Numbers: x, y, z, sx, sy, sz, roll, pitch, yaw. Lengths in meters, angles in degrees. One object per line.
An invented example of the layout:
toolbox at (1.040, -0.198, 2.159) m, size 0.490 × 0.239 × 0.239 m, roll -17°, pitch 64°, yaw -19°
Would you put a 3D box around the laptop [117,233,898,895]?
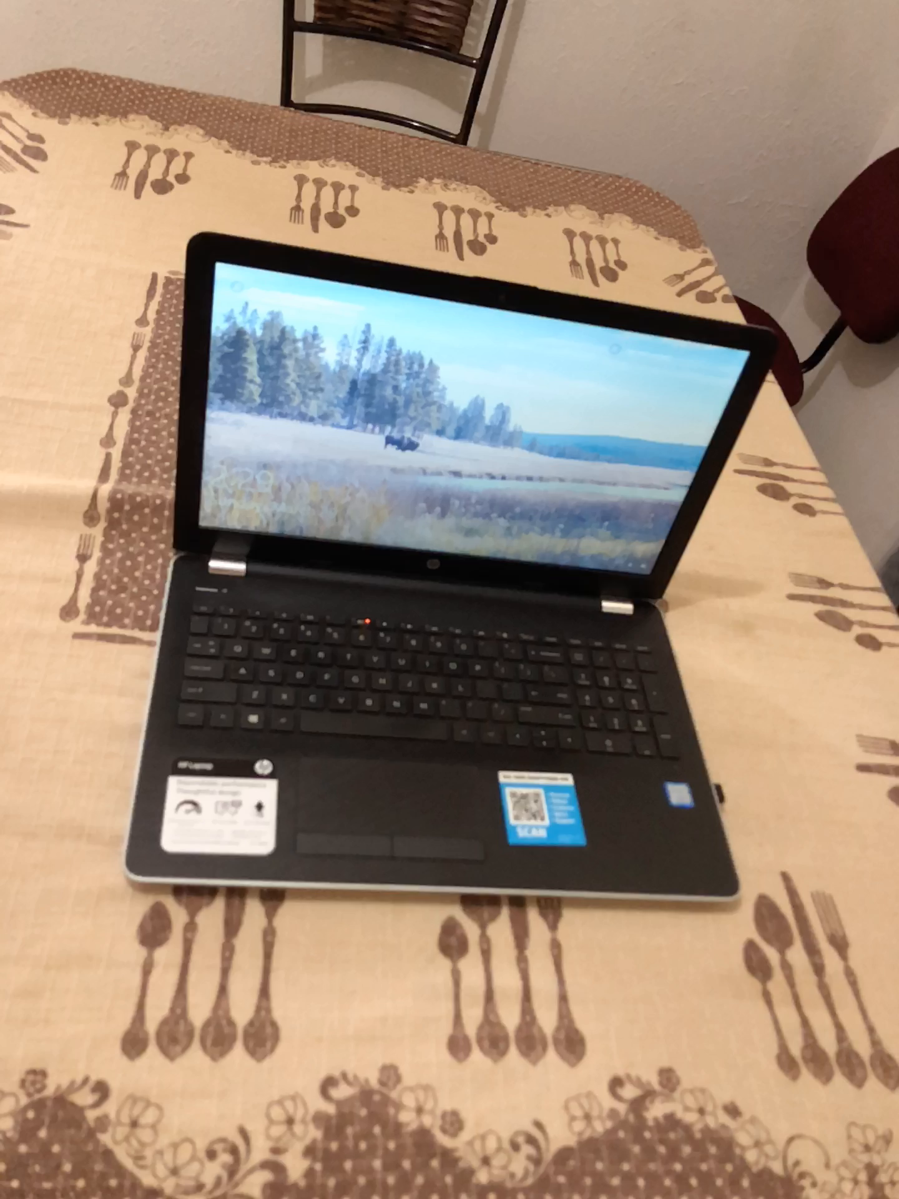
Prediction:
laptop at (0.016, -0.011, 0.570) m, size 0.360 × 0.225 × 0.269 m, roll 6°, pitch 46°, yaw -13°
